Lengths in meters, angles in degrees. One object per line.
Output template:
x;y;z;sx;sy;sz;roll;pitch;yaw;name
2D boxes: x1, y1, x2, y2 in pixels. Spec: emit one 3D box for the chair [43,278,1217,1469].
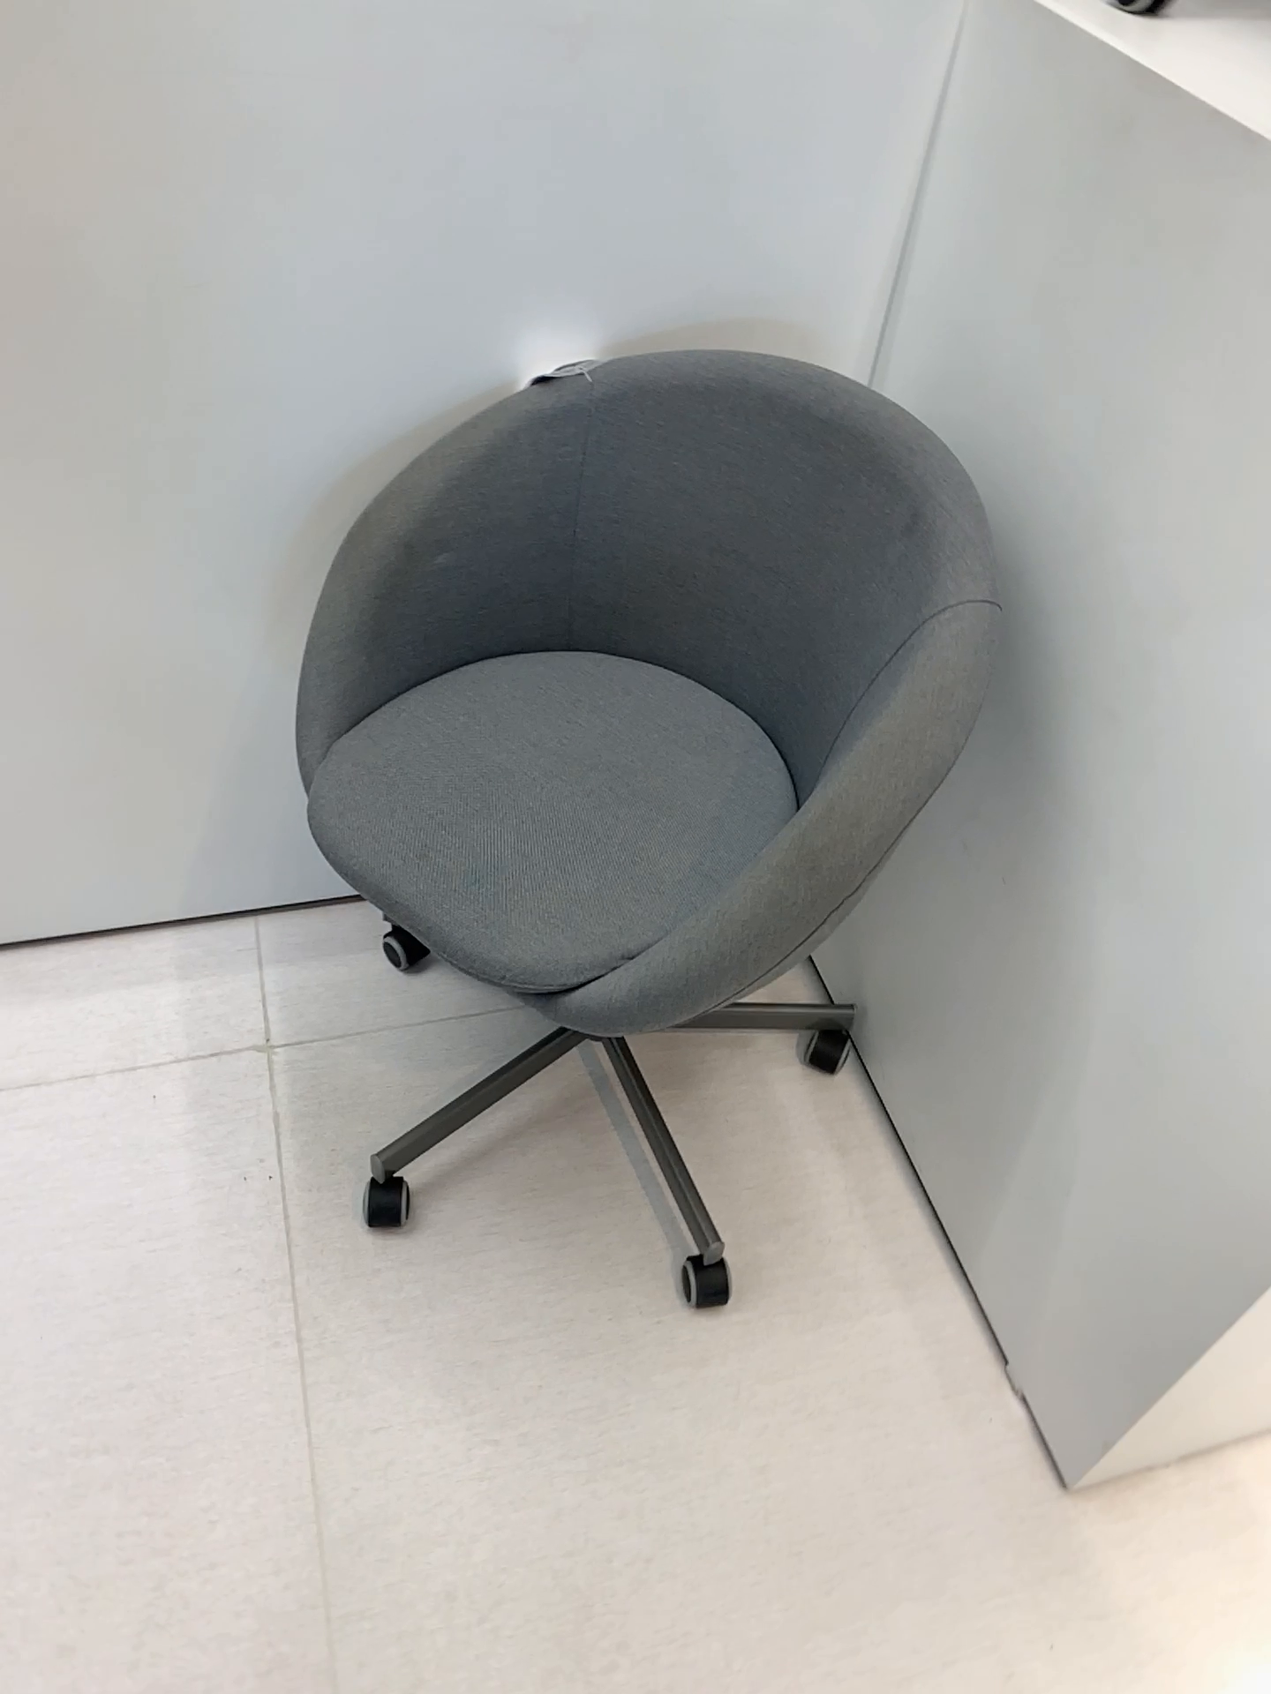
0.012;-0.022;1.441;0.721;0.767;0.832;31;49;20;chair
